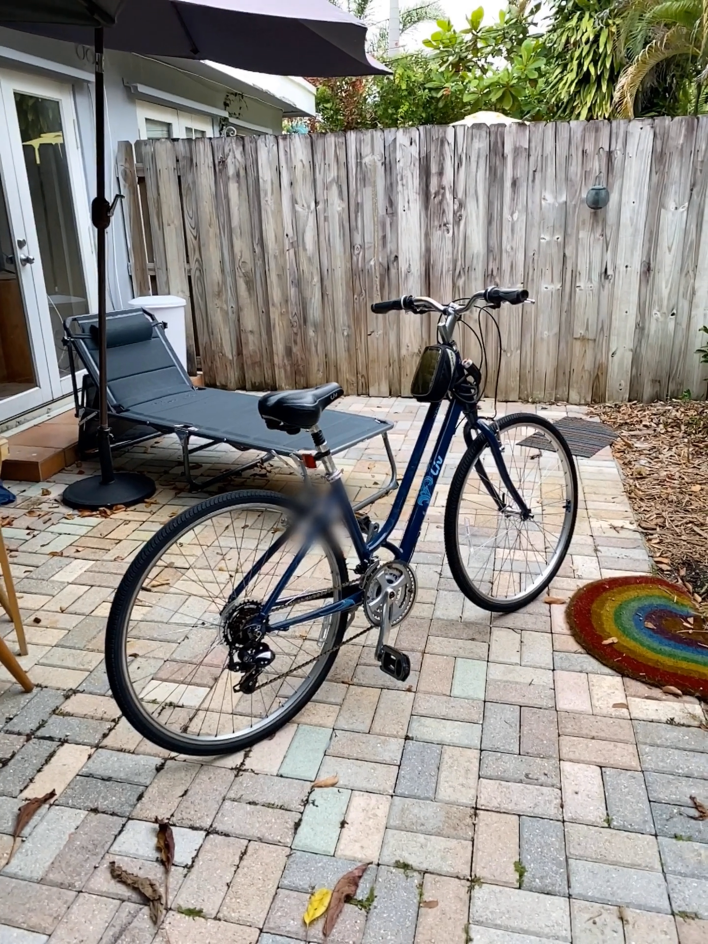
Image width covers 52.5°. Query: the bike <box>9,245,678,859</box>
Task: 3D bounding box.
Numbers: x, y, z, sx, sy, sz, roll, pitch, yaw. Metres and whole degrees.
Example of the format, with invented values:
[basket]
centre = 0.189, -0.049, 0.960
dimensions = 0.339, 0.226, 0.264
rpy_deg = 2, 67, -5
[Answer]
[bike]
centre = 0.108, 0.012, 2.038
dimensions = 1.692, 1.067, 0.597
rpy_deg = -19, 26, -35
